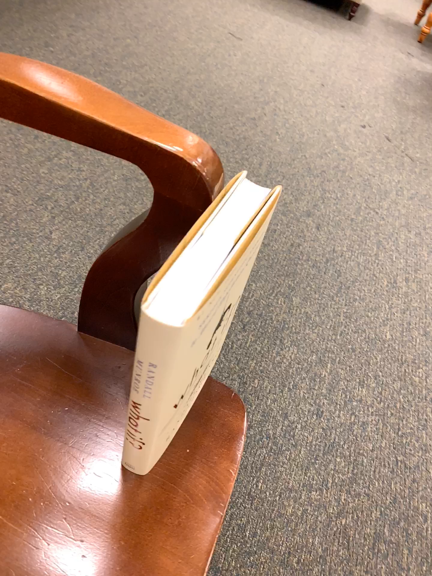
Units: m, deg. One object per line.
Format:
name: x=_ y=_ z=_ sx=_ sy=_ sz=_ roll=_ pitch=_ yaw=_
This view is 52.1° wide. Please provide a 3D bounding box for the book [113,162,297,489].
book: x=-0.015 y=0.040 z=0.396 sx=0.050 sy=0.239 sz=0.188 roll=25 pitch=47 yaw=8
